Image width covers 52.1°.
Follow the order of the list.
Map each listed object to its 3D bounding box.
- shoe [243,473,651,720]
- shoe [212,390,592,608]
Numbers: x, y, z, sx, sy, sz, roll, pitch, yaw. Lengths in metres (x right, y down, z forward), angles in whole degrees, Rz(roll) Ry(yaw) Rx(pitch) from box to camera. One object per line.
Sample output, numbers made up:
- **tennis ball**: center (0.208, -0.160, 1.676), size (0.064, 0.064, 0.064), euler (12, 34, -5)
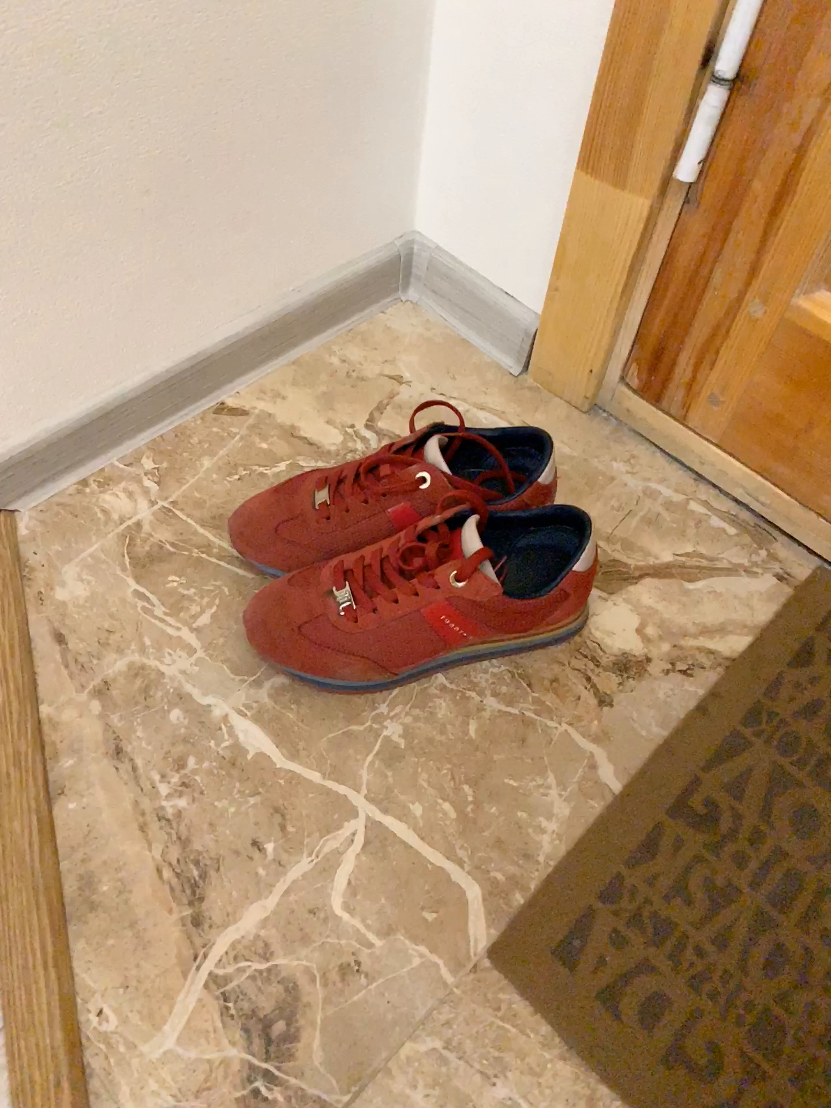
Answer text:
- **shoe**: center (0.016, 0.026, 0.565), size (0.240, 0.090, 0.090), euler (-9, 55, -13)
- **shoe**: center (-0.013, -0.041, 0.603), size (0.240, 0.090, 0.090), euler (-8, 54, -12)
